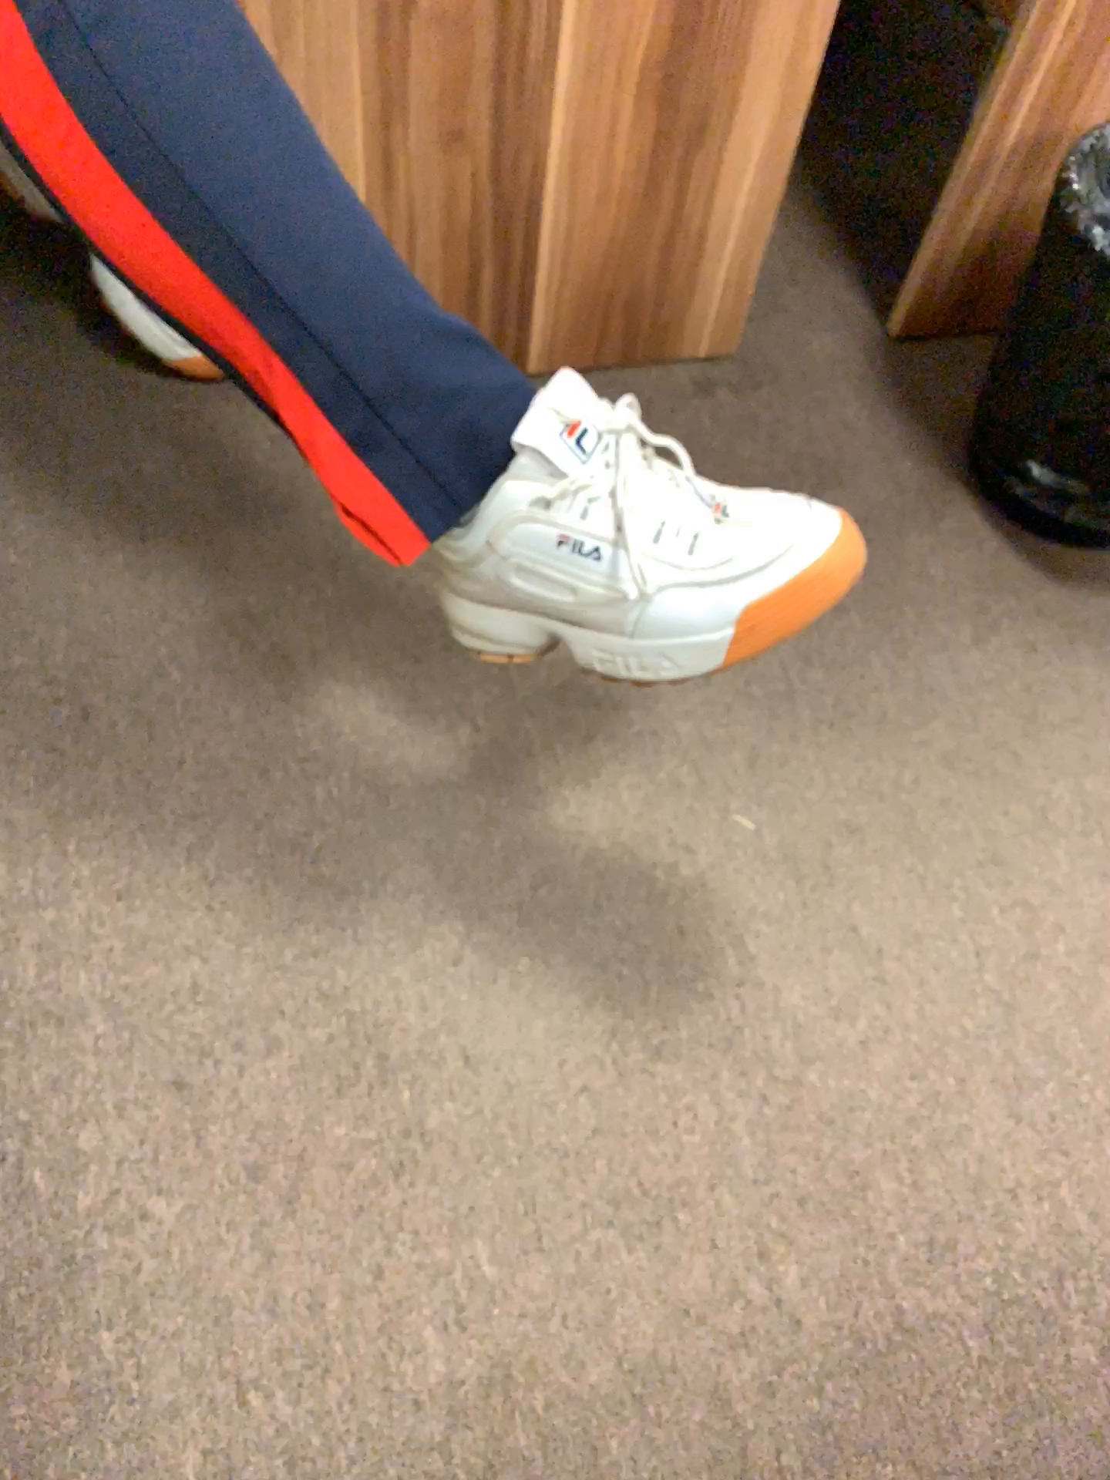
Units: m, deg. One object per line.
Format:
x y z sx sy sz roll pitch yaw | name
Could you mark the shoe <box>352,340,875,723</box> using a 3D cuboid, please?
0.038 -0.120 0.615 0.230 0.130 0.130 12 48 27 | shoe
